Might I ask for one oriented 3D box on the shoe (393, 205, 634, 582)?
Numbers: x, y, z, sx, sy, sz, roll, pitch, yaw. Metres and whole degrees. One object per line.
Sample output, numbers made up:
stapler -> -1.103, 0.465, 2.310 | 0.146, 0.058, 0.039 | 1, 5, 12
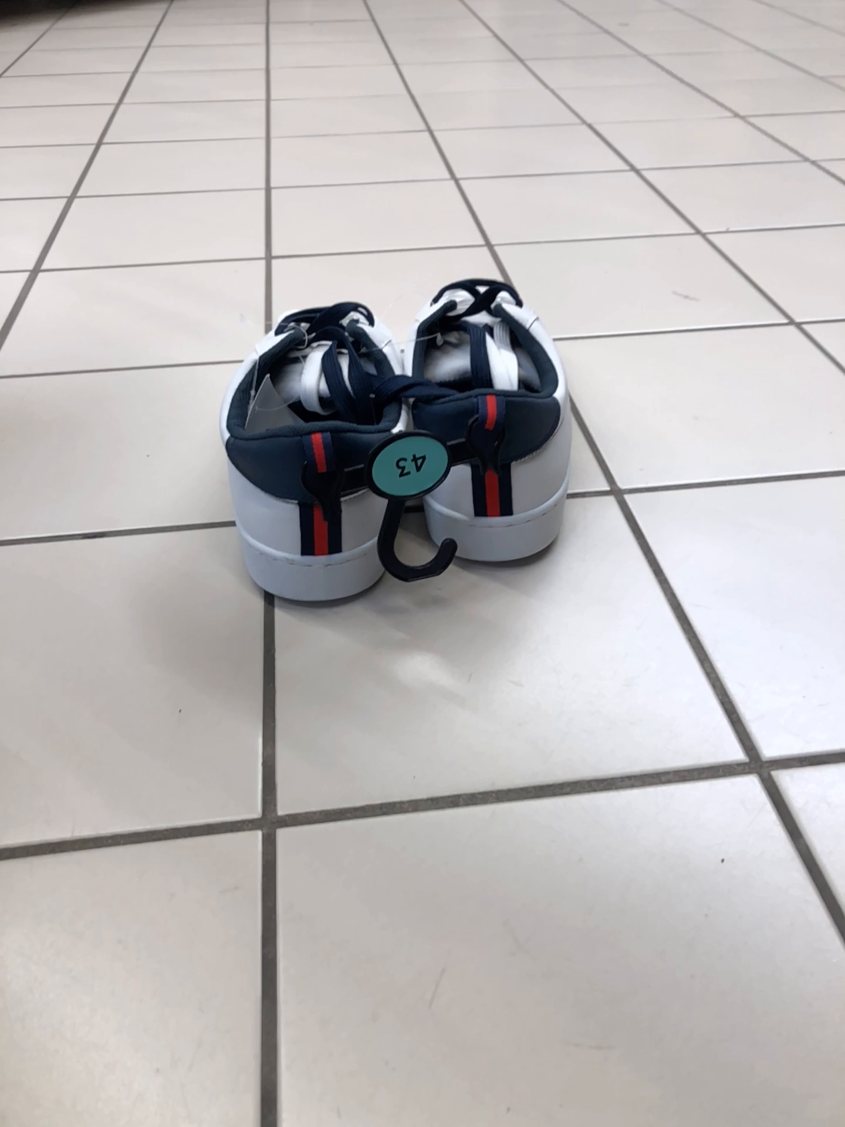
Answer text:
shoe -> 0.039, -0.122, 0.571 | 0.100, 0.099, 0.292 | -3, 38, -2

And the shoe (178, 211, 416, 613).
shoe -> -0.063, -0.107, 0.544 | 0.100, 0.099, 0.292 | -3, 38, -2
